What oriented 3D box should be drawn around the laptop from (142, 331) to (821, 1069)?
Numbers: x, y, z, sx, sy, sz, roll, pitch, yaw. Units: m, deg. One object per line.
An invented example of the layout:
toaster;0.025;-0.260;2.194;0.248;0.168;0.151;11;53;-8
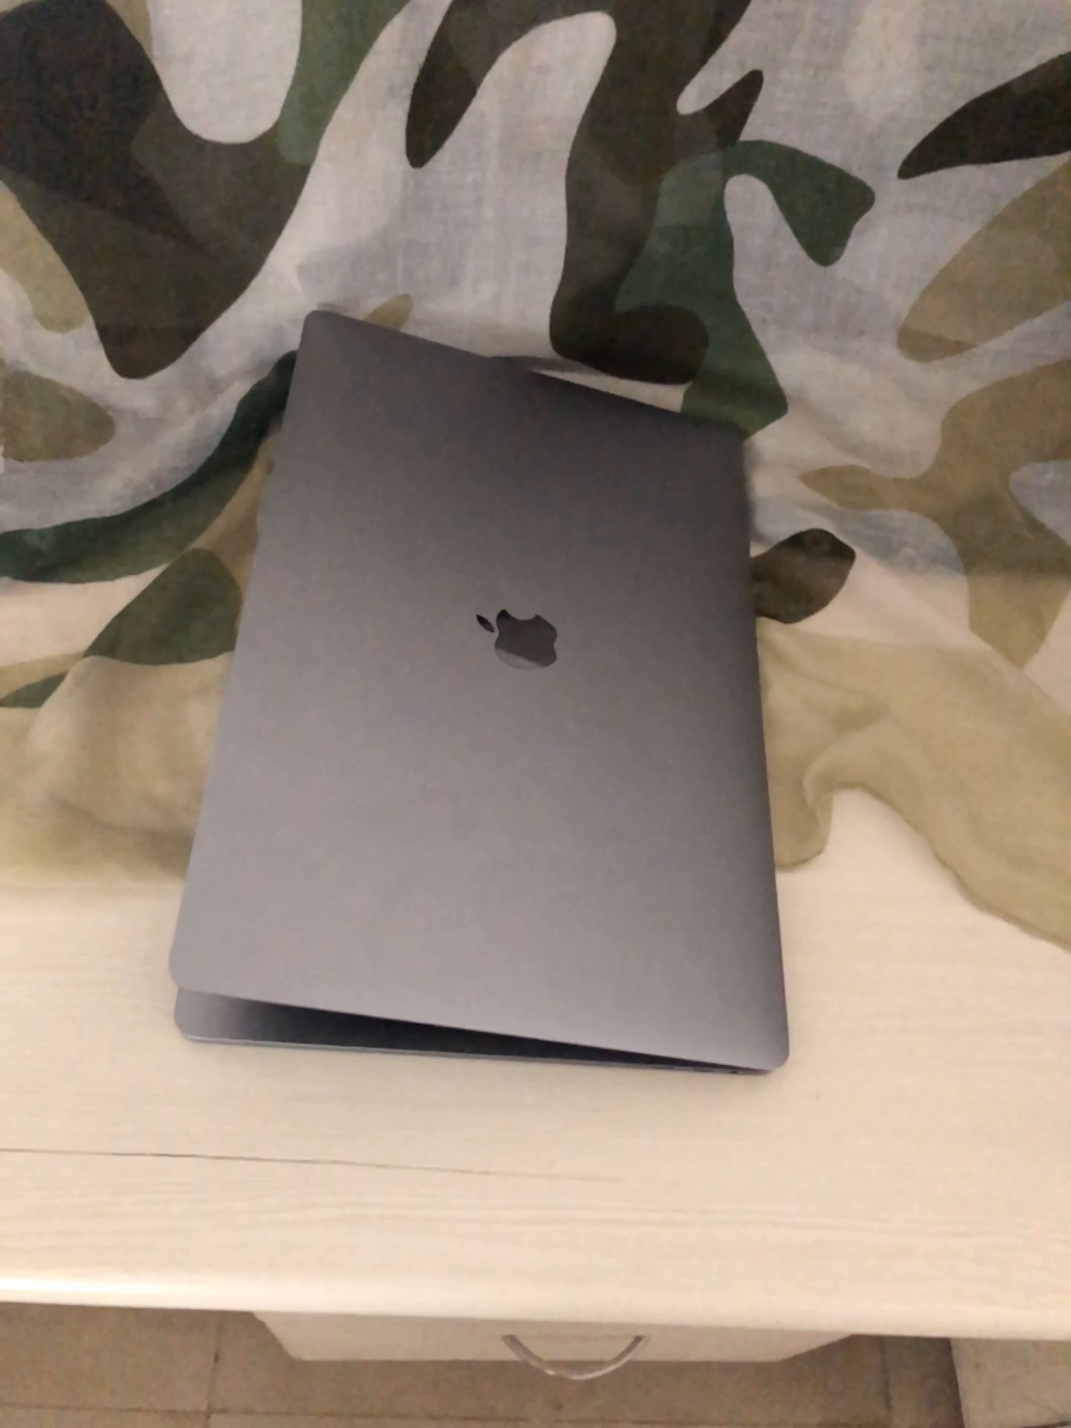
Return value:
laptop;-0.011;-0.026;0.529;0.236;0.058;0.340;5;56;-2
